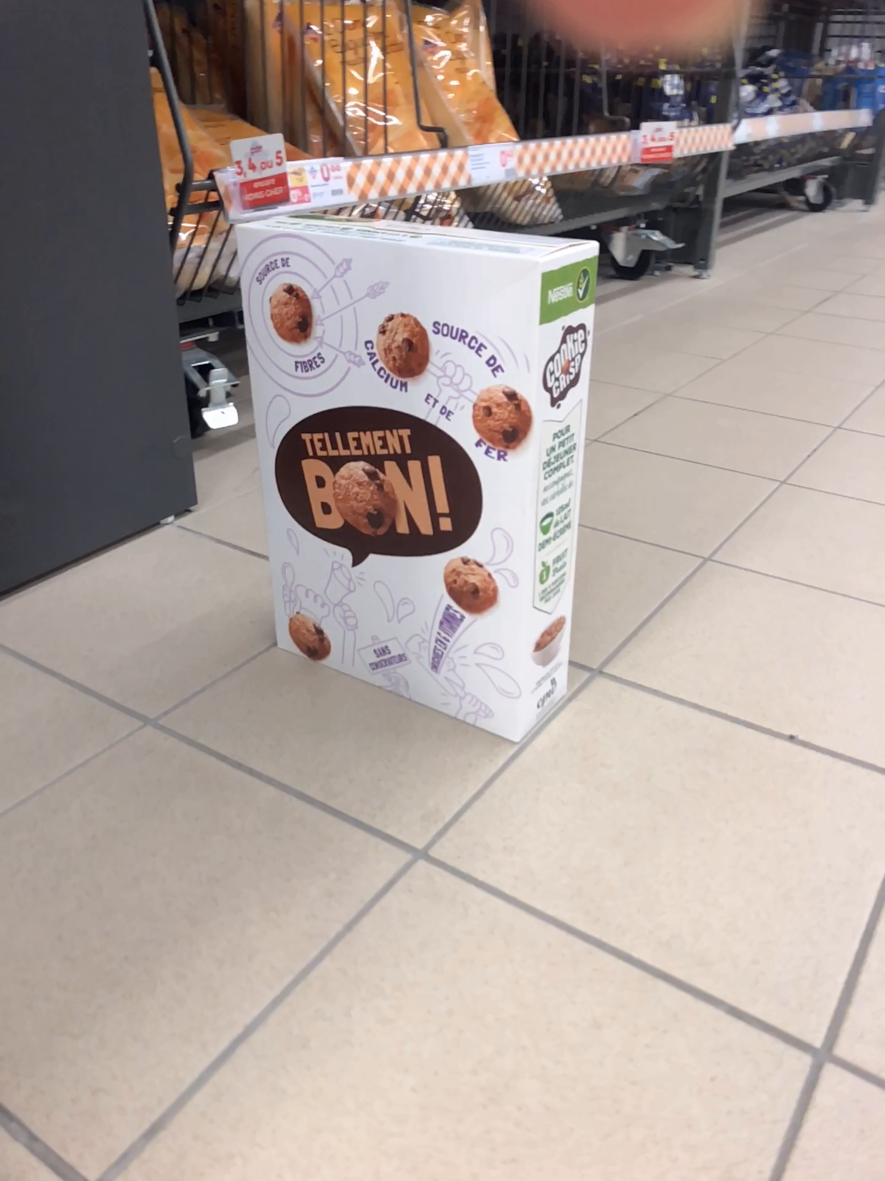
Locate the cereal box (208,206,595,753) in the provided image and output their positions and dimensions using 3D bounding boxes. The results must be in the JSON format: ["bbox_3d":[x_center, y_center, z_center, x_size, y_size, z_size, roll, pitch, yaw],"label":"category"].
[{"bbox_3d":[-0.029,-0.066,0.555,0.200,0.268,0.060,18,32,29],"label":"cereal box"}]
